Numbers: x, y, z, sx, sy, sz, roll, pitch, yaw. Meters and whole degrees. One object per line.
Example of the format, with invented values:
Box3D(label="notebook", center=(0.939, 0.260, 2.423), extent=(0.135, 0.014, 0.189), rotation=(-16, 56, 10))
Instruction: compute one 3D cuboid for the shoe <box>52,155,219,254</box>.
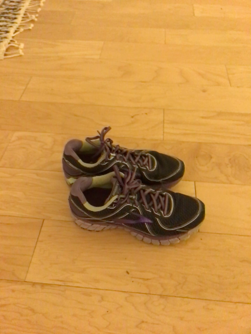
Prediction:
Box3D(label="shoe", center=(0.023, 0.066, 0.520), extent=(0.280, 0.079, 0.121), rotation=(8, 51, 7))

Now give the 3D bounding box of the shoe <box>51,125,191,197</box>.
Box3D(label="shoe", center=(-0.006, -0.015, 0.595), extent=(0.270, 0.079, 0.121), rotation=(3, 51, 3))
